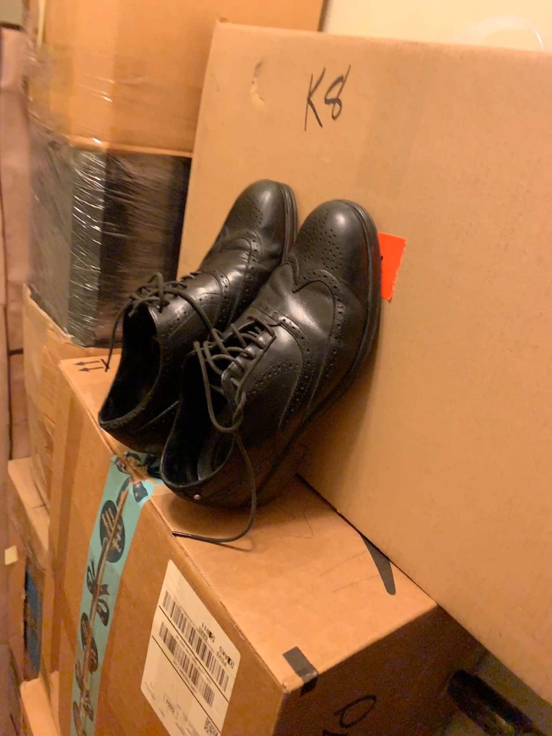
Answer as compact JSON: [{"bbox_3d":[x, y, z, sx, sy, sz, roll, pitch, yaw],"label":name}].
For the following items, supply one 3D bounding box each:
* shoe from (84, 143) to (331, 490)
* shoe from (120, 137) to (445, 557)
[{"bbox_3d":[-0.066,-0.046,0.520,0.120,0.280,0.100,22,7,42],"label":"shoe"},{"bbox_3d":[-0.005,-0.012,0.444,0.100,0.279,0.120,10,20,-46],"label":"shoe"}]
